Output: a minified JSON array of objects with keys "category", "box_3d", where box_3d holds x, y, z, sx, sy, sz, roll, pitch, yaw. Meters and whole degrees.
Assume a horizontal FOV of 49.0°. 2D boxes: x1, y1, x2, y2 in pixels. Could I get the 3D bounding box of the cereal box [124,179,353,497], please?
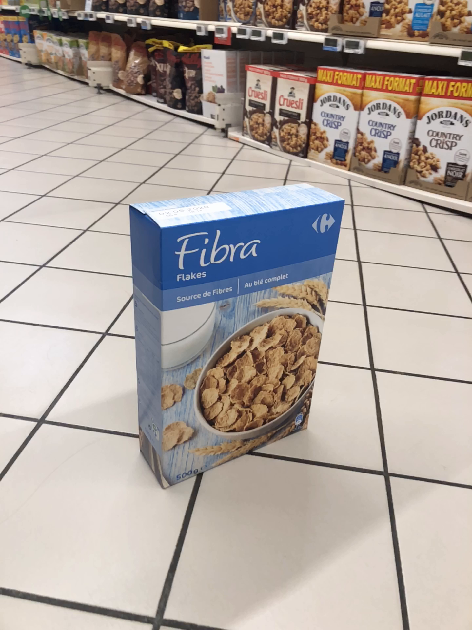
[{"category":"cereal box","box_3d":[-0.001,0.022,0.533,0.201,0.288,0.070,-14,33,-30]}]
